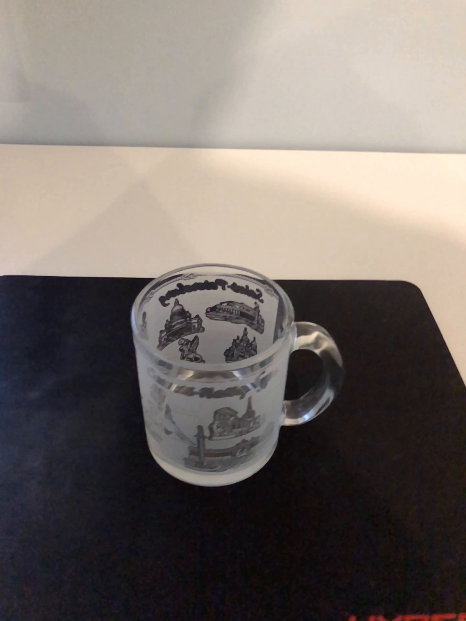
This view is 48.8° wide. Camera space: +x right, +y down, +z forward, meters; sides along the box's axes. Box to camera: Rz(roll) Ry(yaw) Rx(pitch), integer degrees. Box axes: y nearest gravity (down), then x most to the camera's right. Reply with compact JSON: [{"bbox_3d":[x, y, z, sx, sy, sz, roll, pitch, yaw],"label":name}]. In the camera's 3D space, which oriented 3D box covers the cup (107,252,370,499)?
[{"bbox_3d":[0.002,0.038,0.296,0.116,0.106,0.091,1,41,0],"label":"cup"}]
